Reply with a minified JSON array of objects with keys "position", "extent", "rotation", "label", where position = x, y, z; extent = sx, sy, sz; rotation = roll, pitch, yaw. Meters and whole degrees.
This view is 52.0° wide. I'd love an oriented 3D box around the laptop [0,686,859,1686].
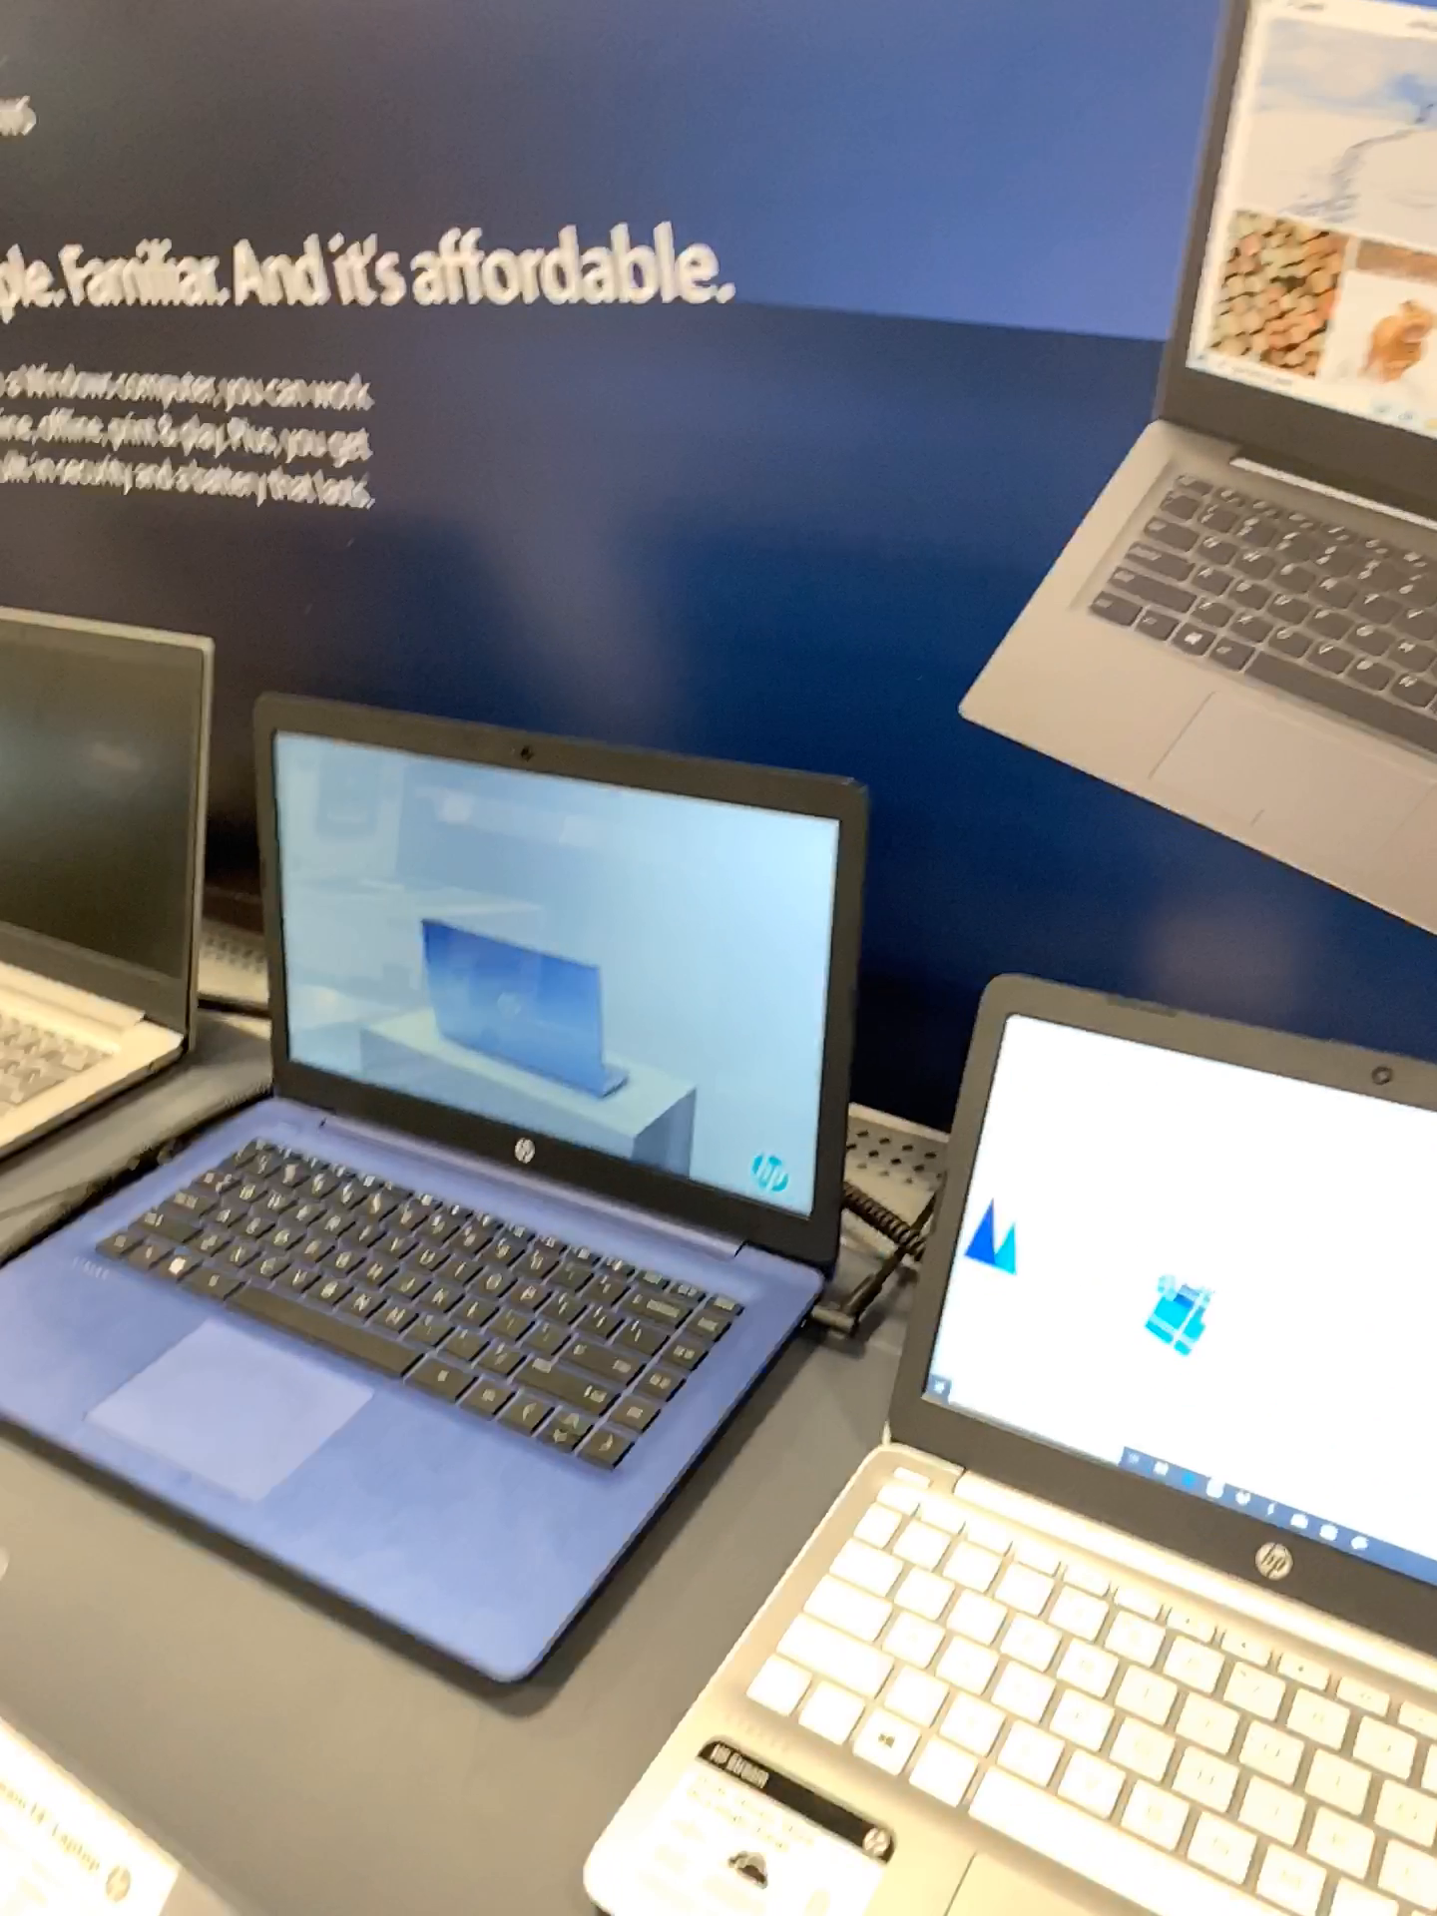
[{"position":[-0.144,0.048,0.583],"extent":[0.322,0.208,0.253],"rotation":[13,31,27],"label":"laptop"}]
